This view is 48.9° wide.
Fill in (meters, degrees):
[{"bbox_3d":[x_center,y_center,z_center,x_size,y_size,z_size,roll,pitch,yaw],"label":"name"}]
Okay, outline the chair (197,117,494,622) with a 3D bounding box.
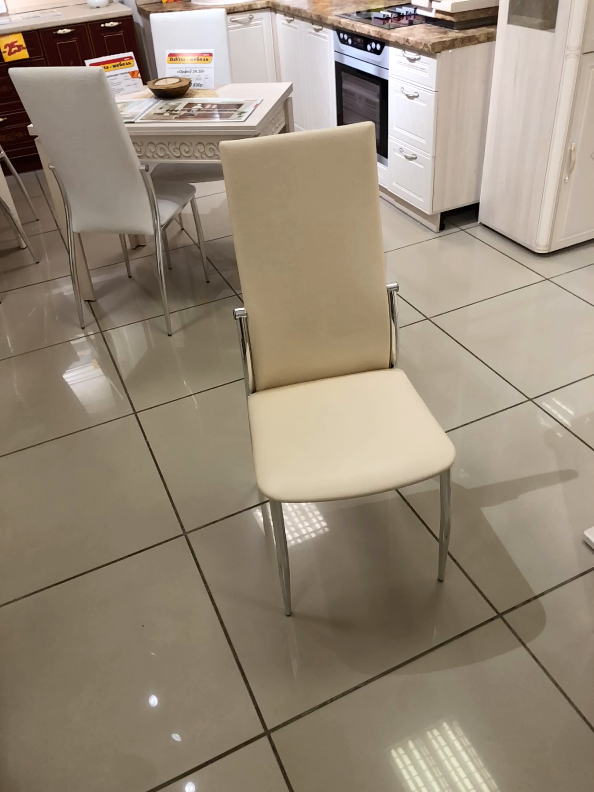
[{"bbox_3d":[0.082,-0.033,1.486,0.430,0.975,0.503,-10,37,-6],"label":"chair"}]
